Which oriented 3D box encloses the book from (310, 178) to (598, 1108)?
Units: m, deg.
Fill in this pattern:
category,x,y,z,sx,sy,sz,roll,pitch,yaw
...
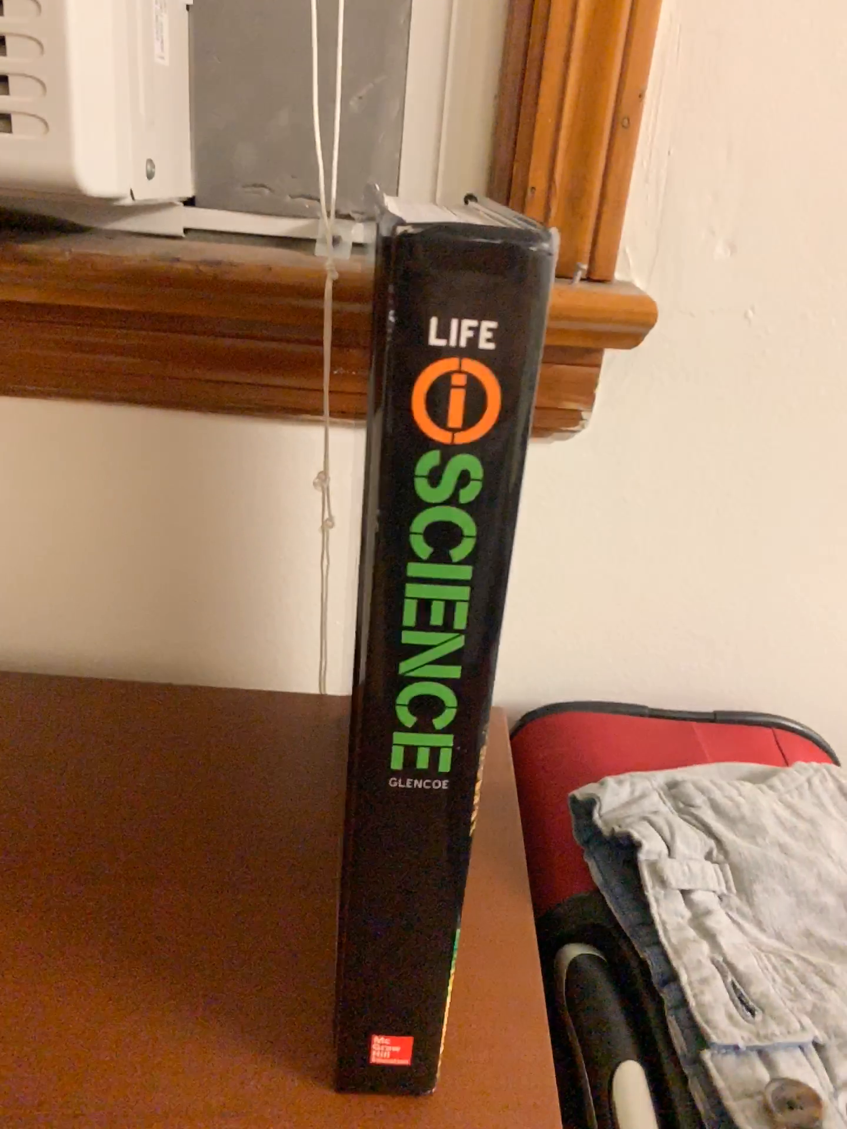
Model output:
category,x,y,z,sx,sy,sz,roll,pitch,yaw
book,-0.006,0.007,0.346,0.051,0.286,0.228,3,24,-5
